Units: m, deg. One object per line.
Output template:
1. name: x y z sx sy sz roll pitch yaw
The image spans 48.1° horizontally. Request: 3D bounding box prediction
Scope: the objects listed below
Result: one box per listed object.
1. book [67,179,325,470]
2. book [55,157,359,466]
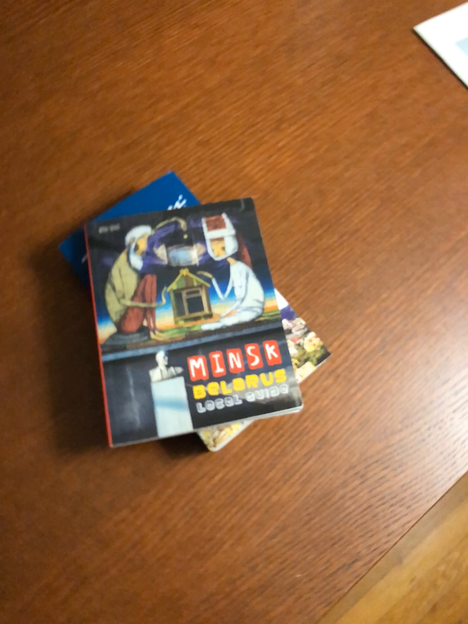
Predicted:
1. book: -0.033 0.001 0.383 0.150 0.020 0.190 -11 71 -6
2. book: -0.026 -0.008 0.428 0.130 0.040 0.220 -36 75 -14
